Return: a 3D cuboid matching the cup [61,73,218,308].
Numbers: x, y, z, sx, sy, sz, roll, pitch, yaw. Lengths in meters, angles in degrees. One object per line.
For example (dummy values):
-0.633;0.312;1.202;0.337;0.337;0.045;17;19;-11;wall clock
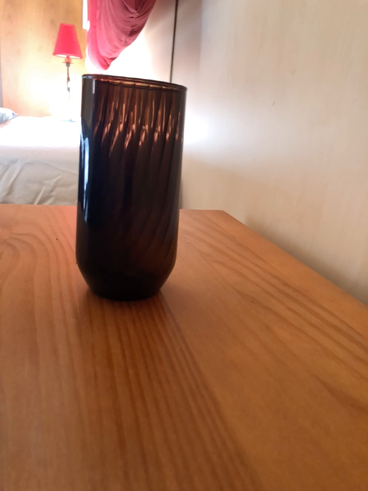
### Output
-0.030;-0.034;0.233;0.061;0.112;0.060;5;17;-2;cup
